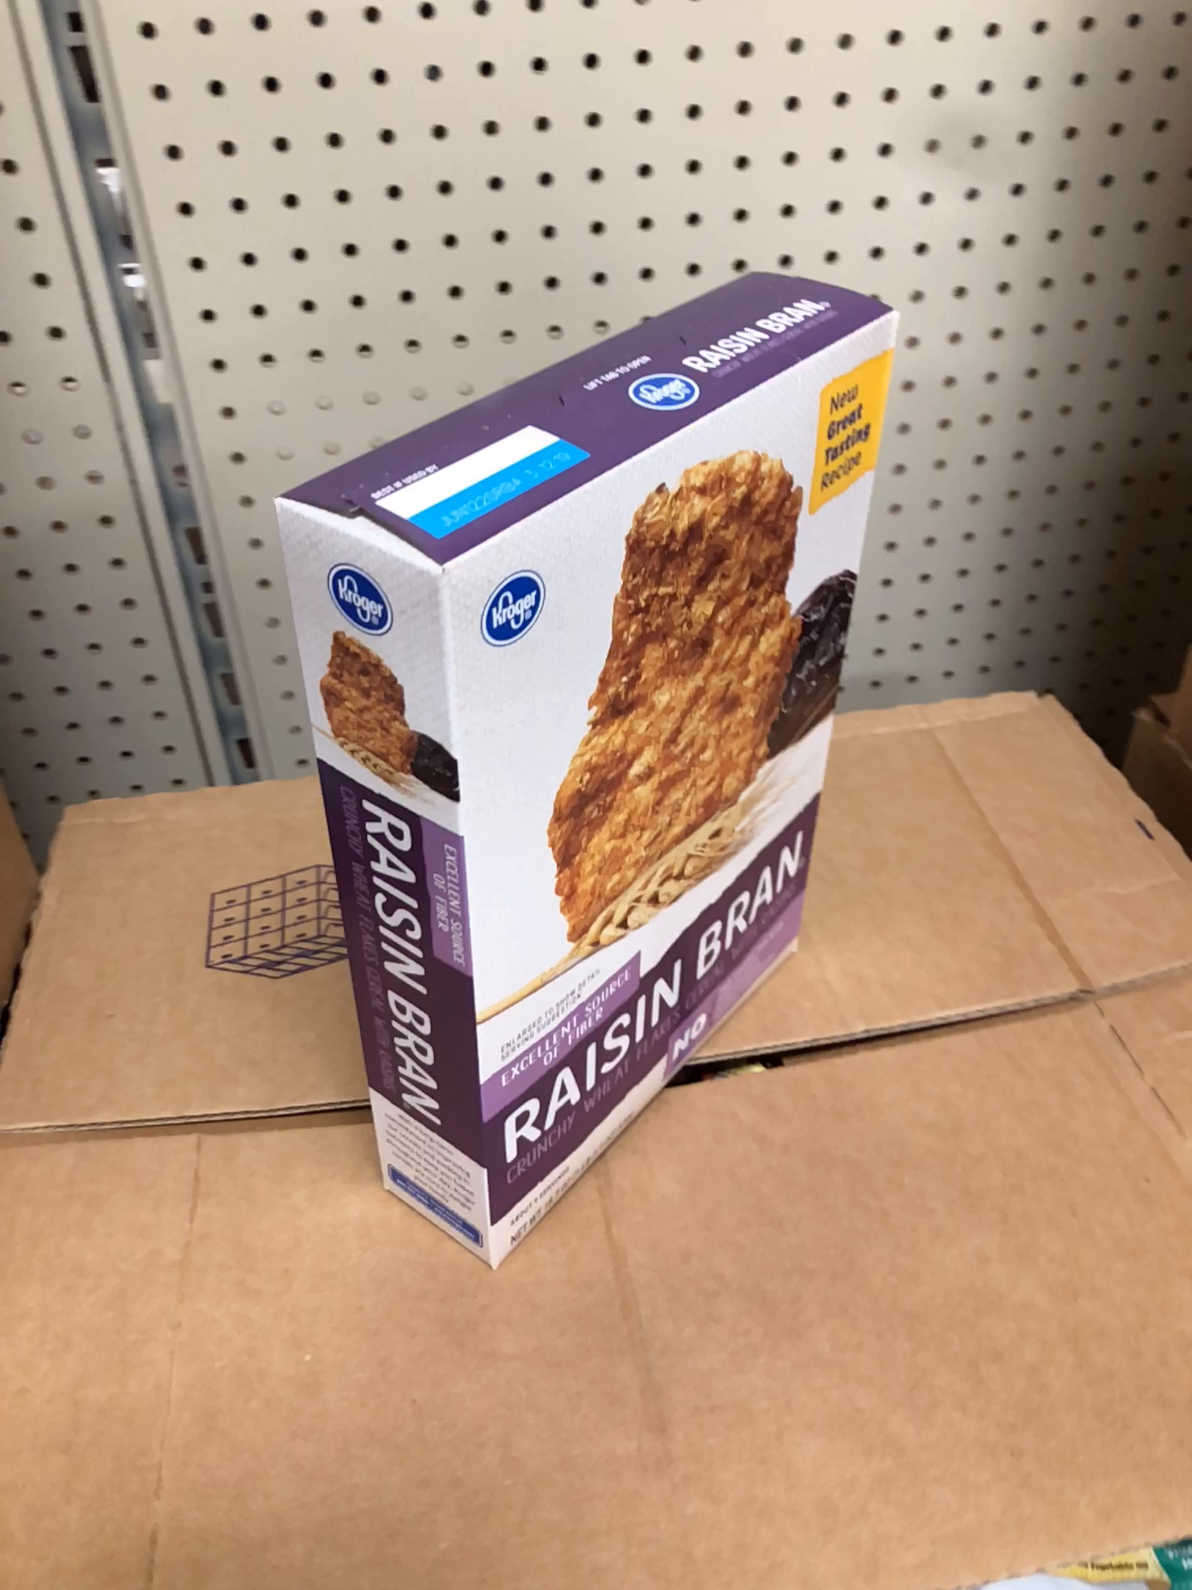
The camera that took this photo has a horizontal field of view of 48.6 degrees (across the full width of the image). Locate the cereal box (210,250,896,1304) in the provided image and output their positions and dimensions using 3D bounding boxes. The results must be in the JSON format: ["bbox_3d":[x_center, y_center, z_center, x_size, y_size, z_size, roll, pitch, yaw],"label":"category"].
[{"bbox_3d":[0.001,-0.003,0.417,0.060,0.269,0.200,26,45,28],"label":"cereal box"}]
